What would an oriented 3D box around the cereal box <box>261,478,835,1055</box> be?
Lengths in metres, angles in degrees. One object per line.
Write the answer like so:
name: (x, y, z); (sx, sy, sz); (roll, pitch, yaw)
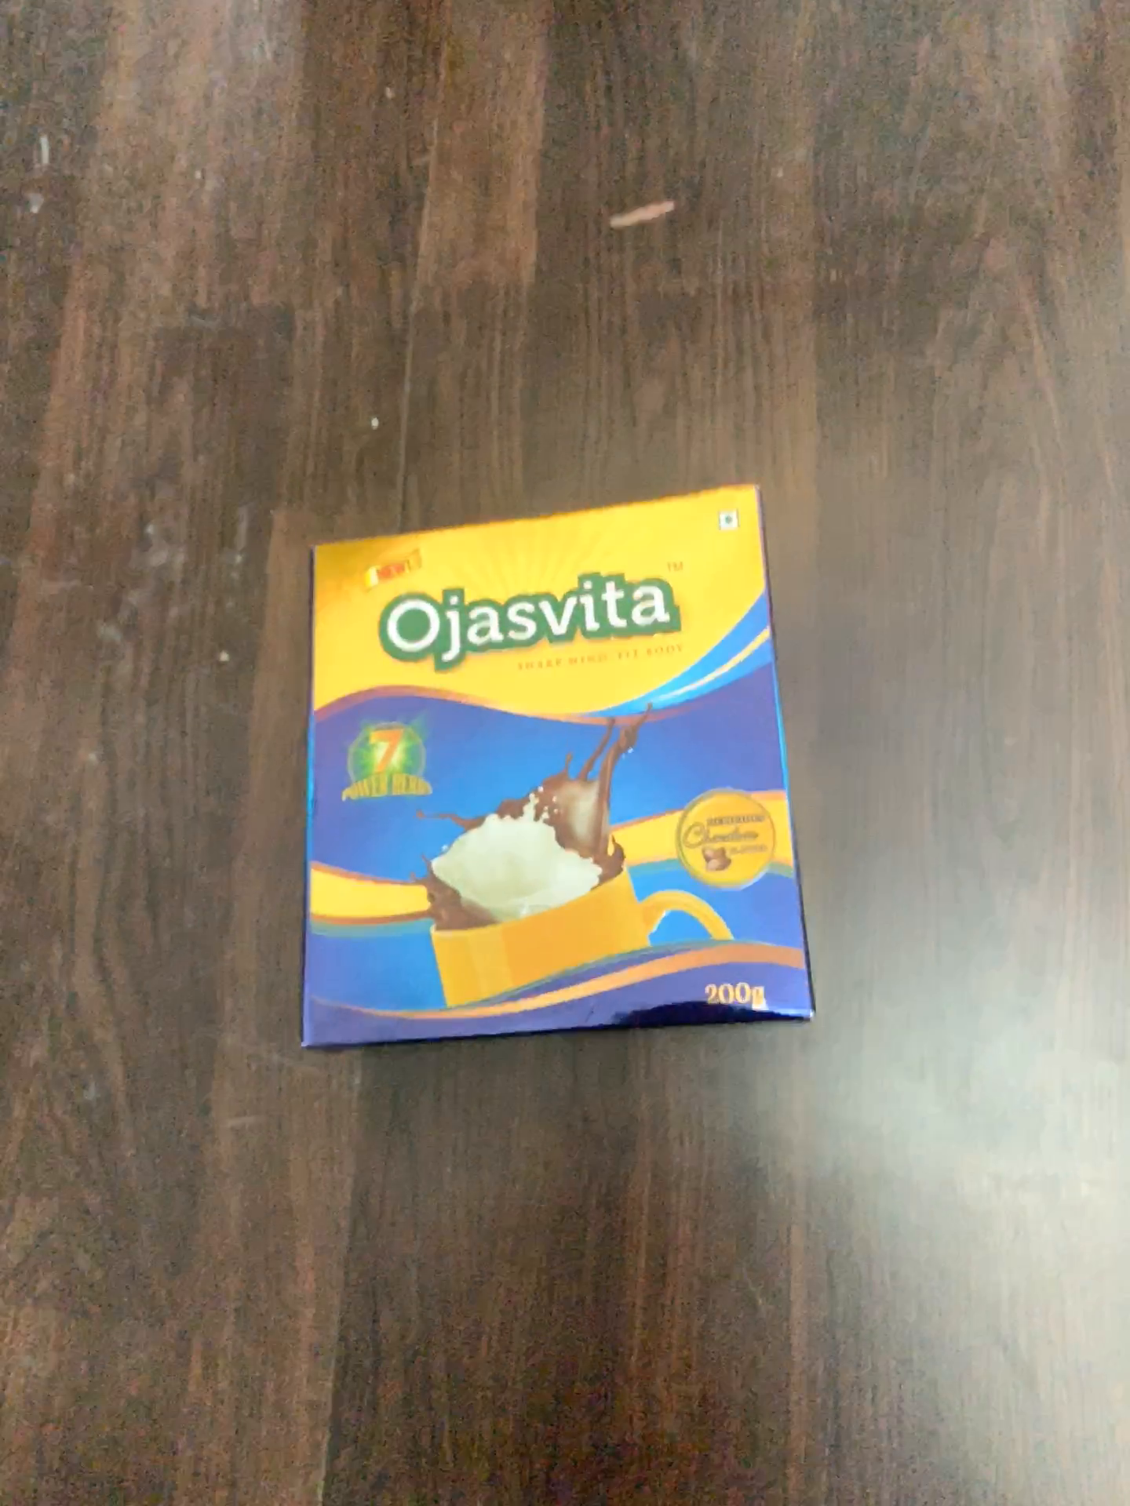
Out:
cereal box: (-0.008, 0.006, 0.342); (0.150, 0.040, 0.150); (-6, 73, 8)
